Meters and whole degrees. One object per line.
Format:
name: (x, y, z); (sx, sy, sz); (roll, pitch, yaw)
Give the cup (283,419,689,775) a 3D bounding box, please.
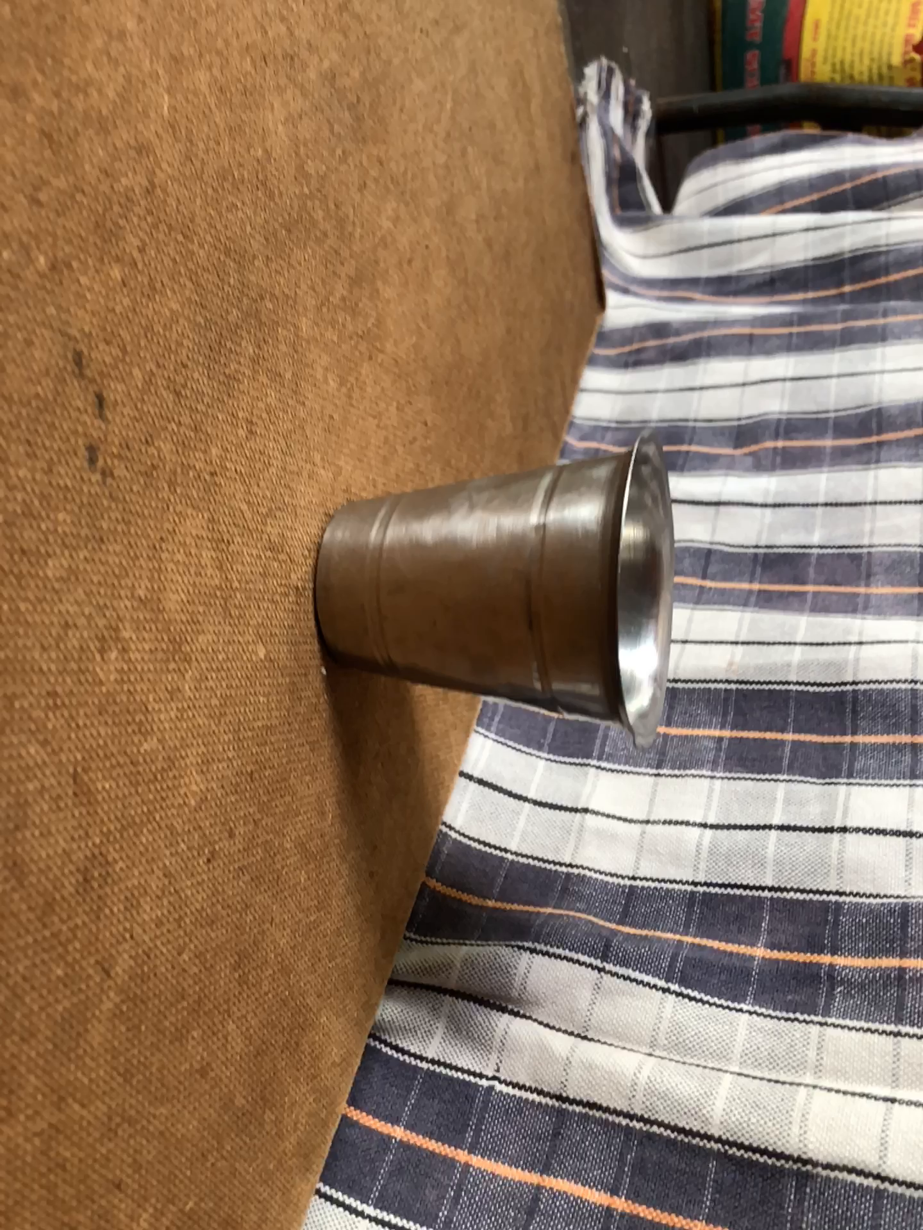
cup: (0.011, -0.008, 0.250); (0.060, 0.080, 0.070); (-39, 127, -66)
